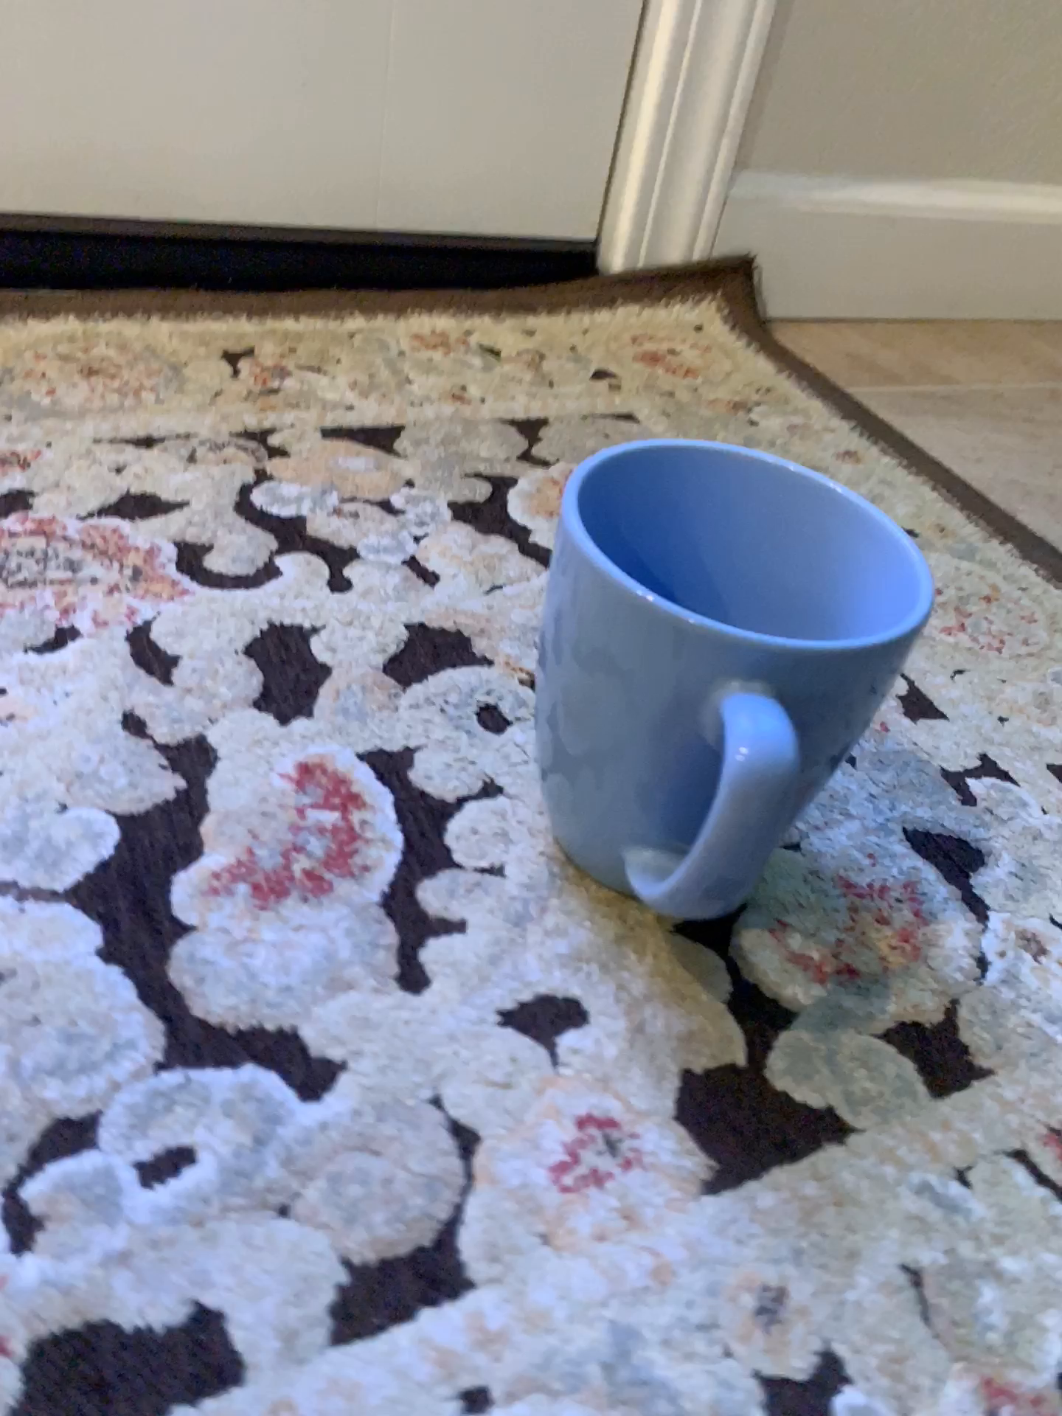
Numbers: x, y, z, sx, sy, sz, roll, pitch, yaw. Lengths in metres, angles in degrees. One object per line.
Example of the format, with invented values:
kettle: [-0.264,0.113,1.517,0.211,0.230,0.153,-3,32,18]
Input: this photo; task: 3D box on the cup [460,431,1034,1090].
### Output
cup: [0.036,0.008,0.262,0.090,0.089,0.121,7,39,-6]
